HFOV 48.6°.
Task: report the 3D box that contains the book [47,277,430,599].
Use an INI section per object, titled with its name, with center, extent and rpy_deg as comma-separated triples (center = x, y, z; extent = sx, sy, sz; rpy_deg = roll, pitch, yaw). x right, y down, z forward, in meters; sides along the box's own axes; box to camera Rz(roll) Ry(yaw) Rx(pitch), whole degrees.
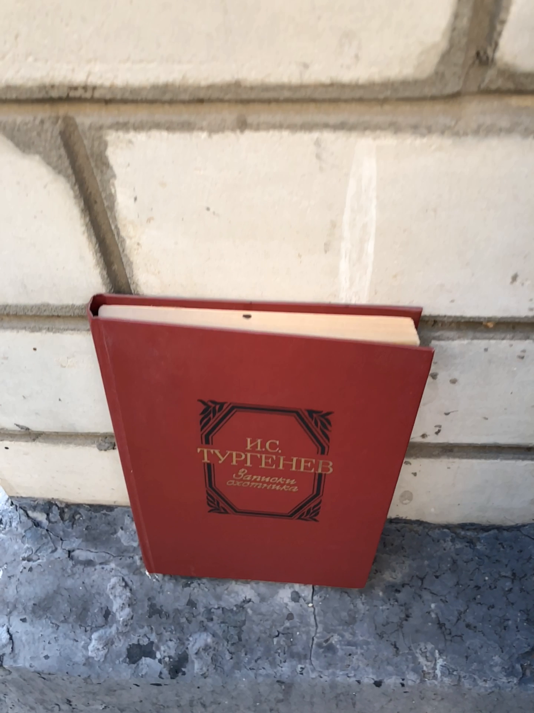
[book]
center = -0.009, 0.056, 0.303
extent = 0.147, 0.205, 0.026
rpy_deg = 4, 43, 6
